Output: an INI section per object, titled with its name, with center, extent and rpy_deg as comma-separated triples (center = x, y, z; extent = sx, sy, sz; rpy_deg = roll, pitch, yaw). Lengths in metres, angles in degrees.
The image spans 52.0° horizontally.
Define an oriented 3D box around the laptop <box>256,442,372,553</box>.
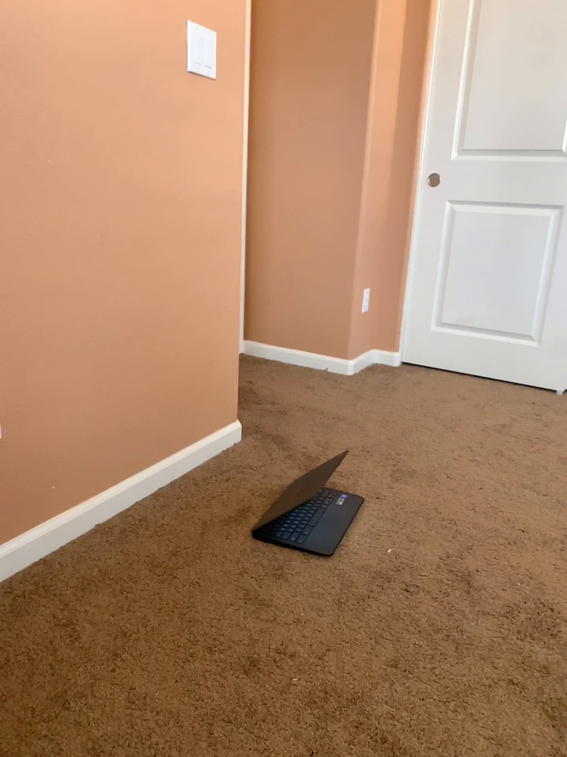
[laptop]
center = 0.083, 0.283, 1.455
extent = 0.194, 0.127, 0.290
rpy_deg = 8, 18, 22
